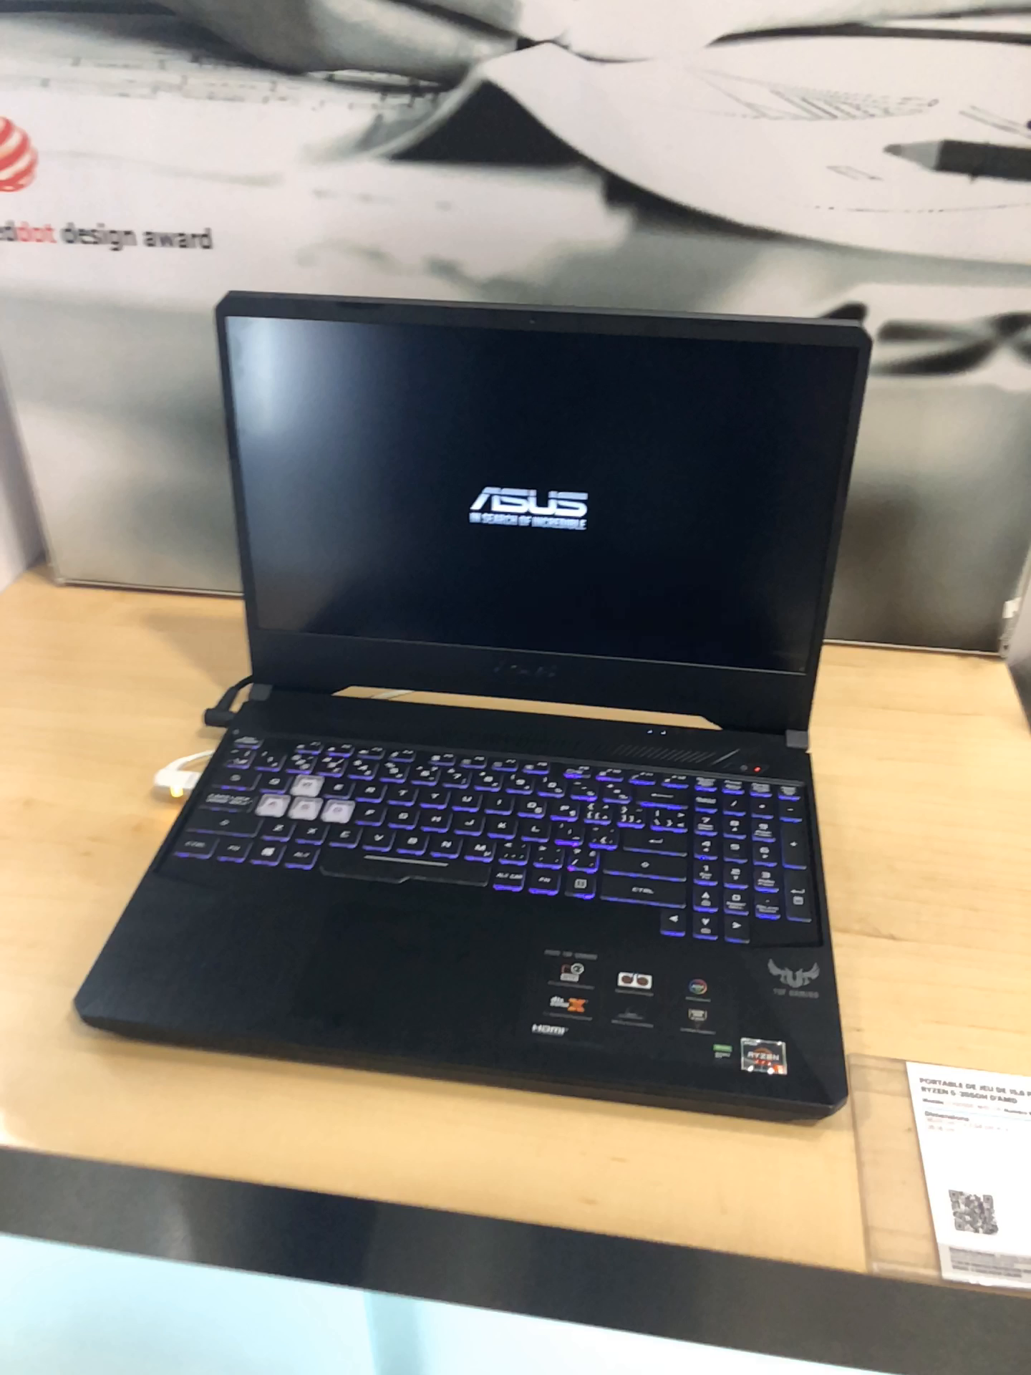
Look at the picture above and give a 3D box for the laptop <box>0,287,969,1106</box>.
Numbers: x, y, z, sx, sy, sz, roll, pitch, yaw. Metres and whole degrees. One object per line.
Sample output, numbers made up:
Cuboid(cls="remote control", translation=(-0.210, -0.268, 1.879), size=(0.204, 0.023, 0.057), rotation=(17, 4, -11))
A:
Cuboid(cls="laptop", translation=(-0.015, -0.021, 0.568), size=(0.358, 0.245, 0.310), rotation=(4, 36, 6))
